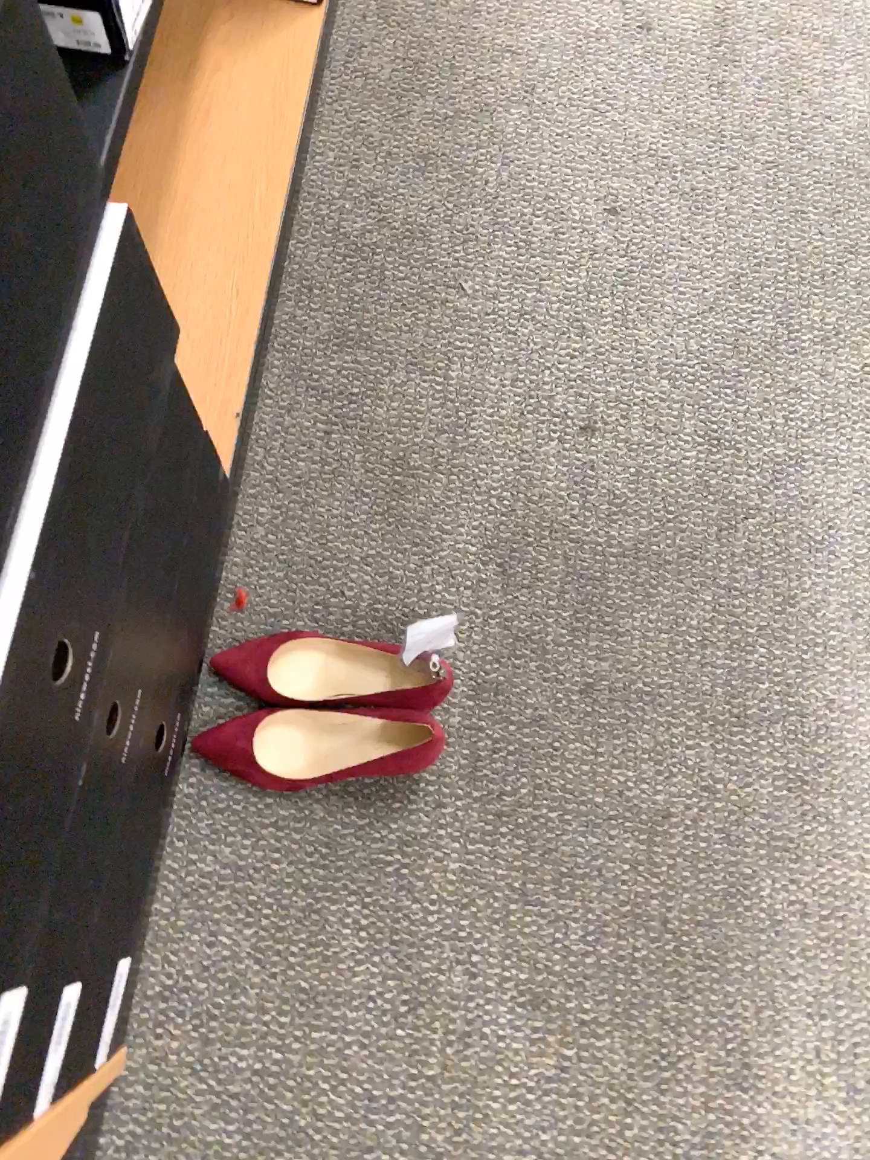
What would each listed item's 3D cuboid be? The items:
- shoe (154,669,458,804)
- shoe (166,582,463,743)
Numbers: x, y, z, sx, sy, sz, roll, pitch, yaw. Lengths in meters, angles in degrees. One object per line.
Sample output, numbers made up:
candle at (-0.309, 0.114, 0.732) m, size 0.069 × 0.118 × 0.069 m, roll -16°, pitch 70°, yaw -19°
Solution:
shoe at (-0.115, 0.158, 0.854) m, size 0.250 × 0.200 × 0.090 m, roll 4°, pitch 73°, yaw -4°
shoe at (-0.112, 0.090, 0.880) m, size 0.250 × 0.200 × 0.090 m, roll 7°, pitch 72°, yaw -3°
